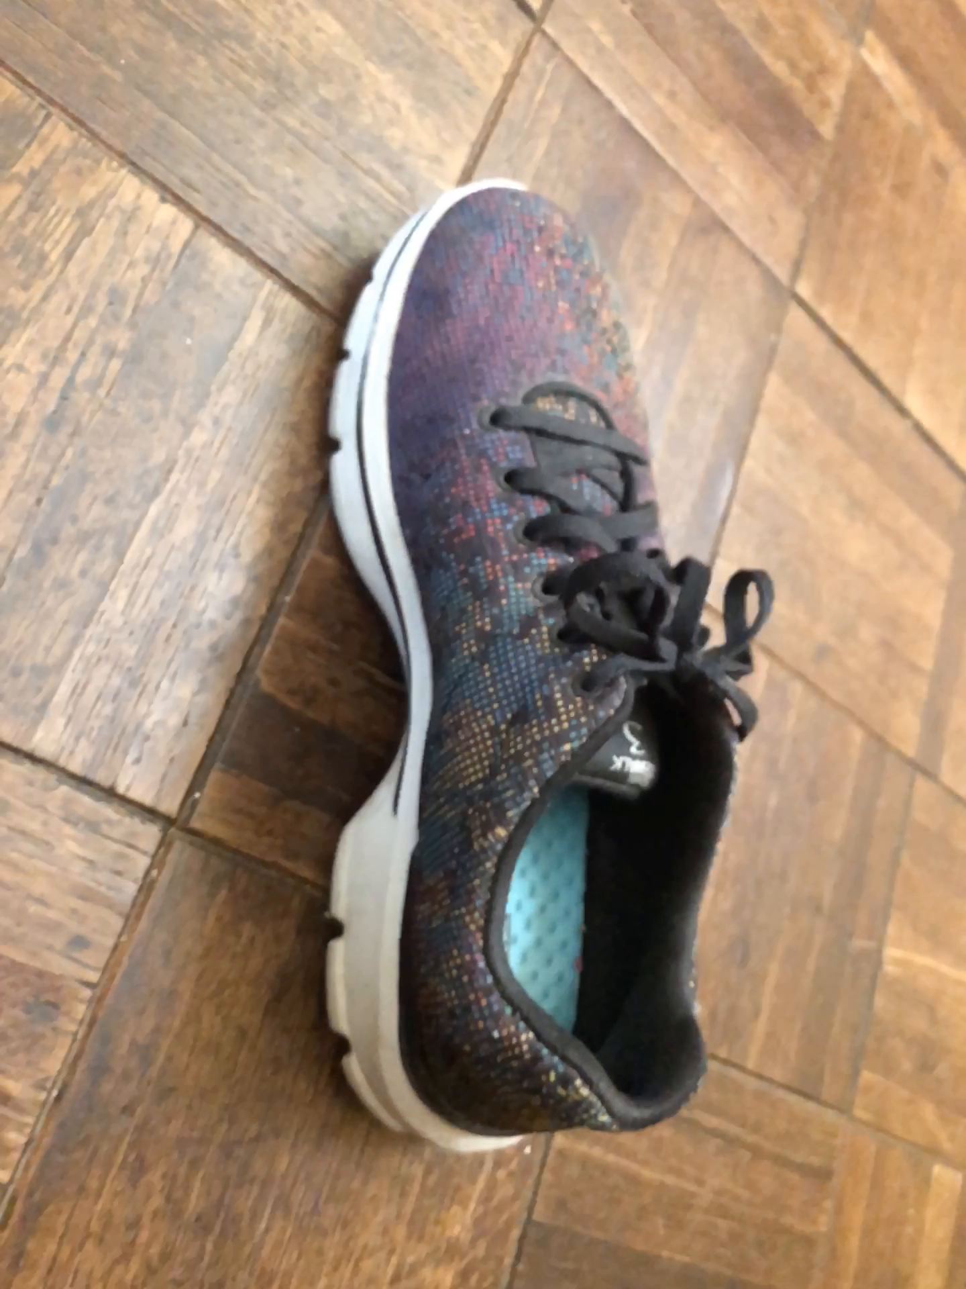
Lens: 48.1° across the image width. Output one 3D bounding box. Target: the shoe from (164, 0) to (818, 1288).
[{"bbox_3d":[0.005,-0.004,0.294,0.111,0.119,0.290,11,77,-36],"label":"shoe"}]
